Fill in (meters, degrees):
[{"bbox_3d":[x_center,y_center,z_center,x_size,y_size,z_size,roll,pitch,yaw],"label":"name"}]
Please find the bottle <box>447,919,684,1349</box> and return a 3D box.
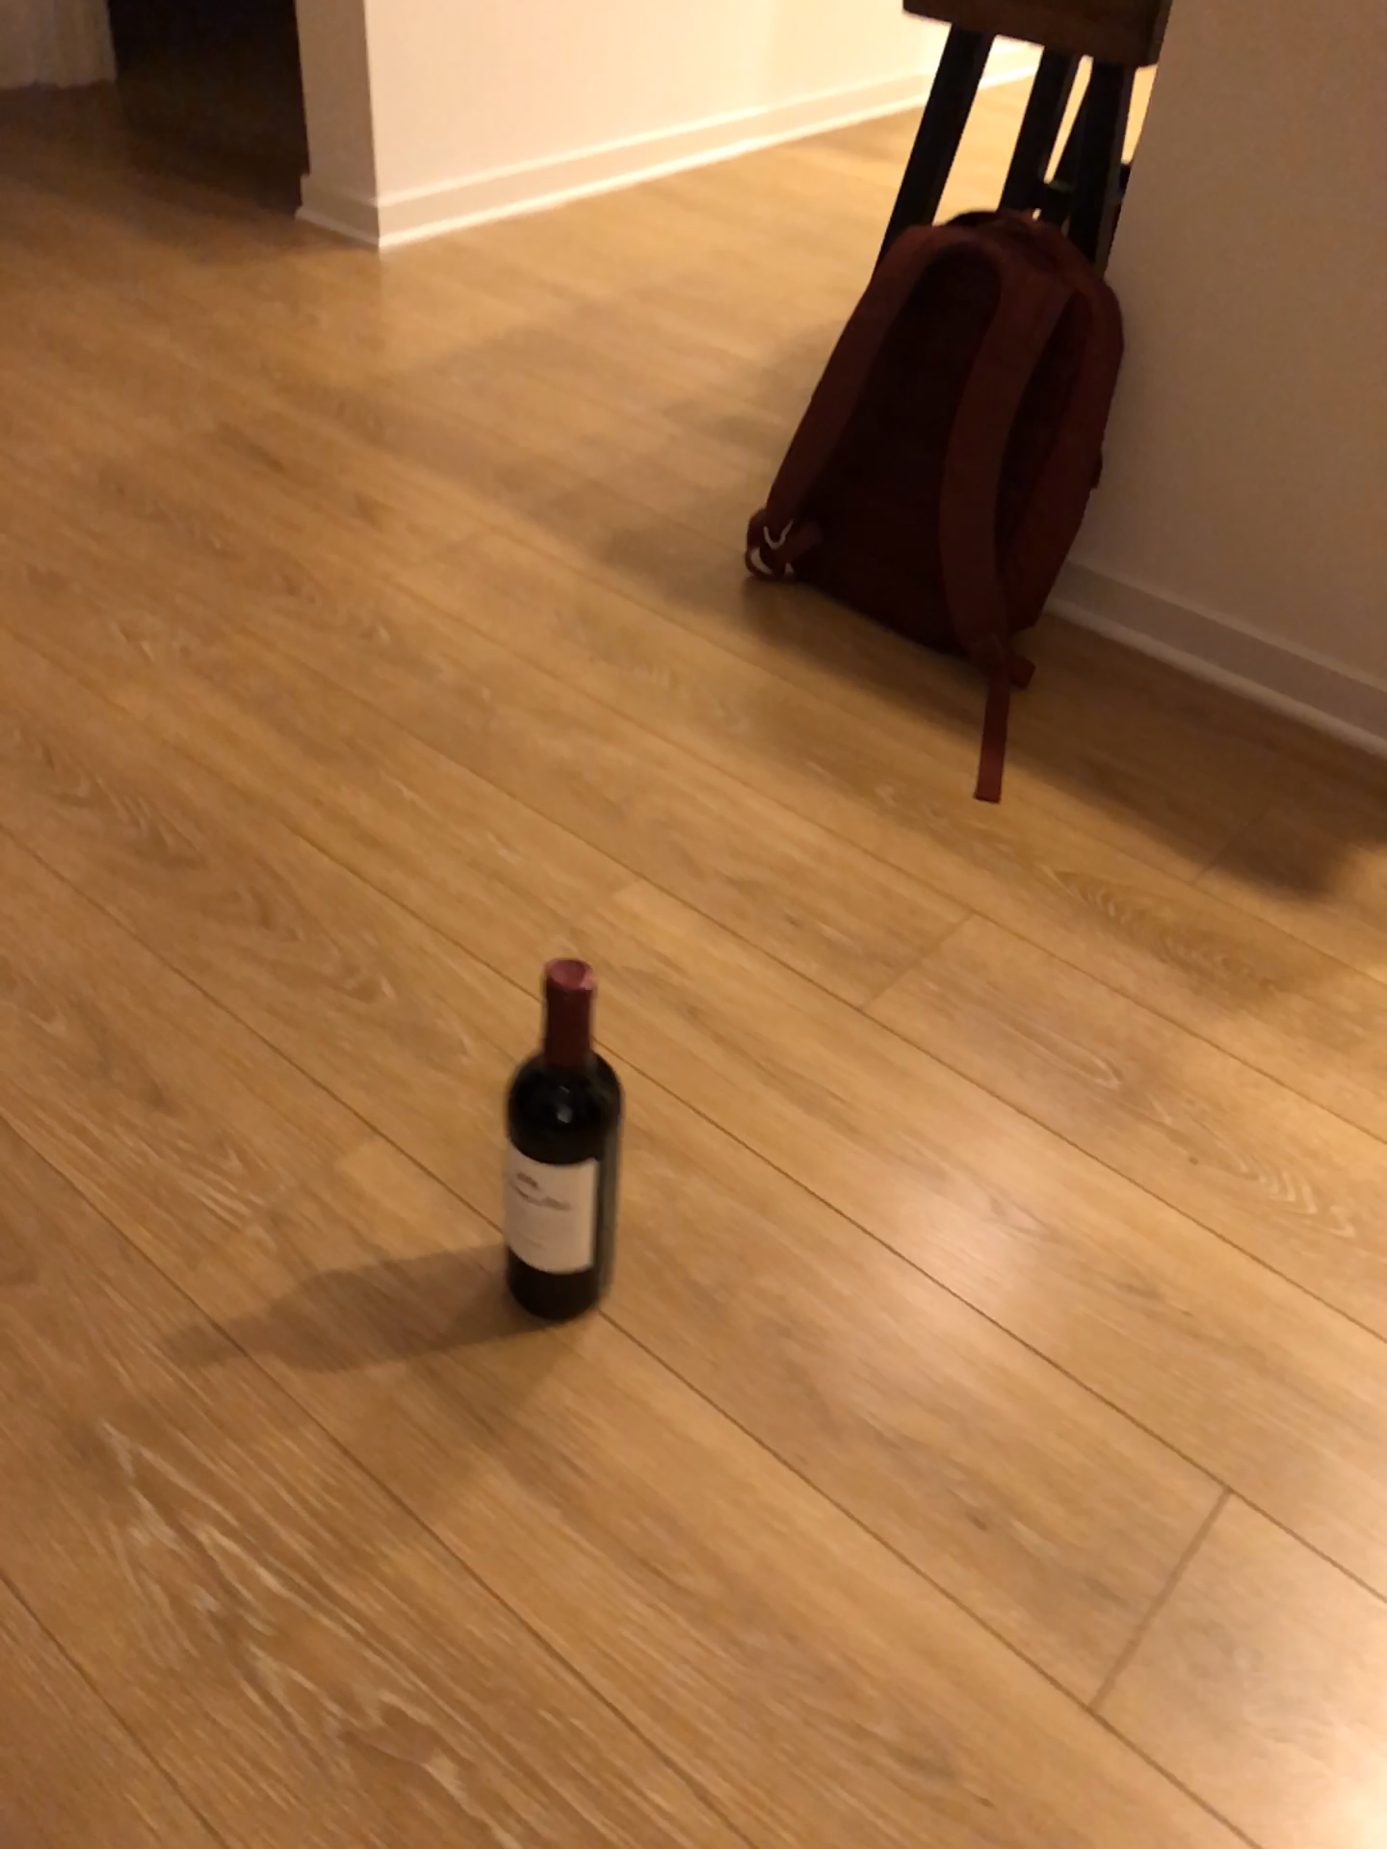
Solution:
[{"bbox_3d":[-0.087,0.142,1.008,0.100,0.259,0.110,3,41,-3],"label":"bottle"}]
